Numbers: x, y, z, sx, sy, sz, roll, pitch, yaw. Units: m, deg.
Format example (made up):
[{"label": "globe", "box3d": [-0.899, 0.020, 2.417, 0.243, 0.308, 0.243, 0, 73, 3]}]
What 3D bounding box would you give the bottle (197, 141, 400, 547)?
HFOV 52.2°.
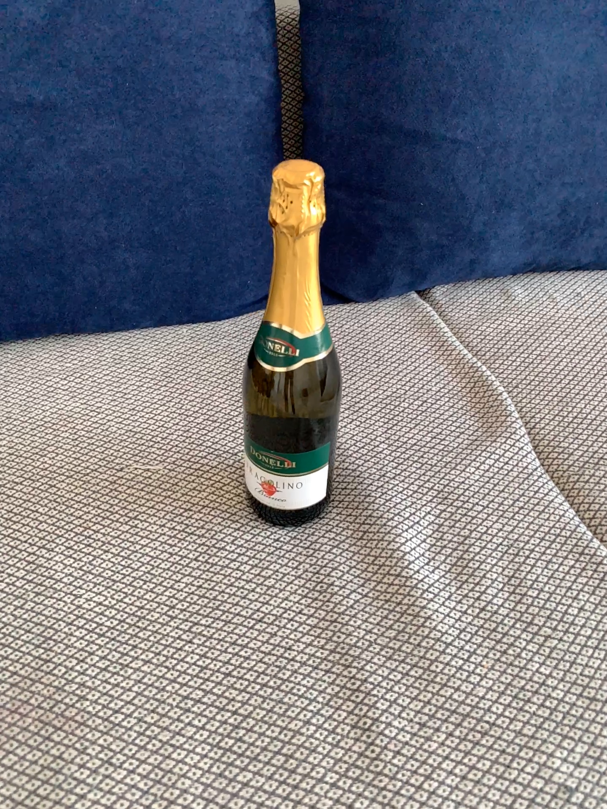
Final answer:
[{"label": "bottle", "box3d": [-0.002, -0.029, 0.469, 0.090, 0.289, 0.090, 0, 42, 0]}]
